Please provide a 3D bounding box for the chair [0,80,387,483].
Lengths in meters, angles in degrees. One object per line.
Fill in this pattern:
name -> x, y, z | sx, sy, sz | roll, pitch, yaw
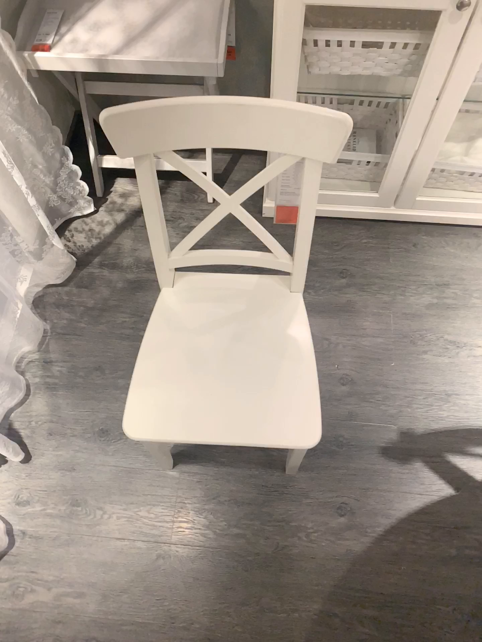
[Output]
chair -> -0.039, 0.030, 1.046 | 0.440, 0.859, 0.491 | 2, 65, 2
